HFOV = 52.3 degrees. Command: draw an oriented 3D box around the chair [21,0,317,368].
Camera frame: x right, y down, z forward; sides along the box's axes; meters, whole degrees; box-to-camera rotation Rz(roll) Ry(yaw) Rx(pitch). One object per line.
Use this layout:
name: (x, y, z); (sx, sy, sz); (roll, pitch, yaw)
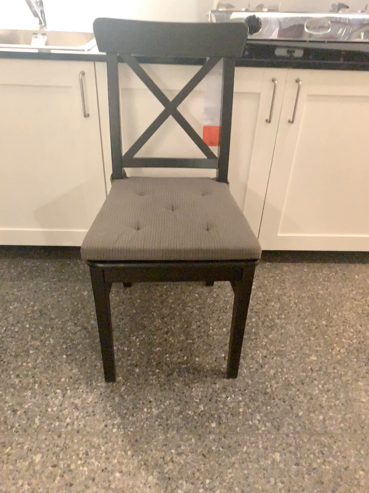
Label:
chair: (-0.046, -0.153, 0.960); (0.420, 0.786, 0.492); (0, 35, -4)
